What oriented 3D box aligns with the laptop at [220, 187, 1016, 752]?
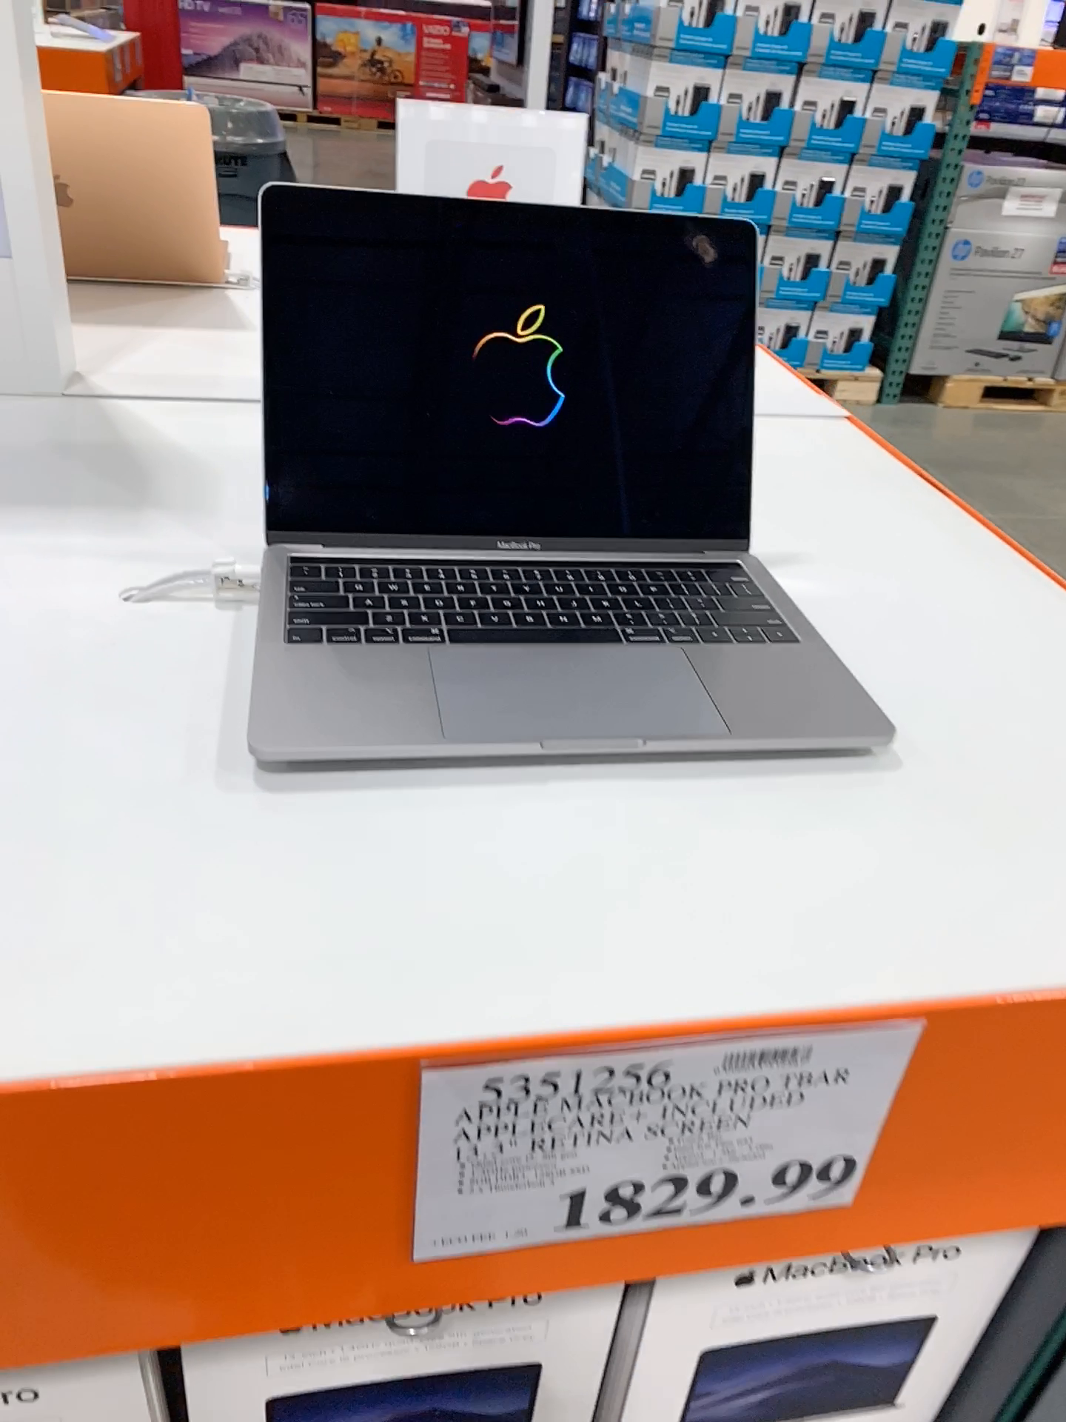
[{"bbox_3d":[0.008,-0.141,0.553,0.289,0.164,0.308,-1,33,-10],"label":"laptop"}]
